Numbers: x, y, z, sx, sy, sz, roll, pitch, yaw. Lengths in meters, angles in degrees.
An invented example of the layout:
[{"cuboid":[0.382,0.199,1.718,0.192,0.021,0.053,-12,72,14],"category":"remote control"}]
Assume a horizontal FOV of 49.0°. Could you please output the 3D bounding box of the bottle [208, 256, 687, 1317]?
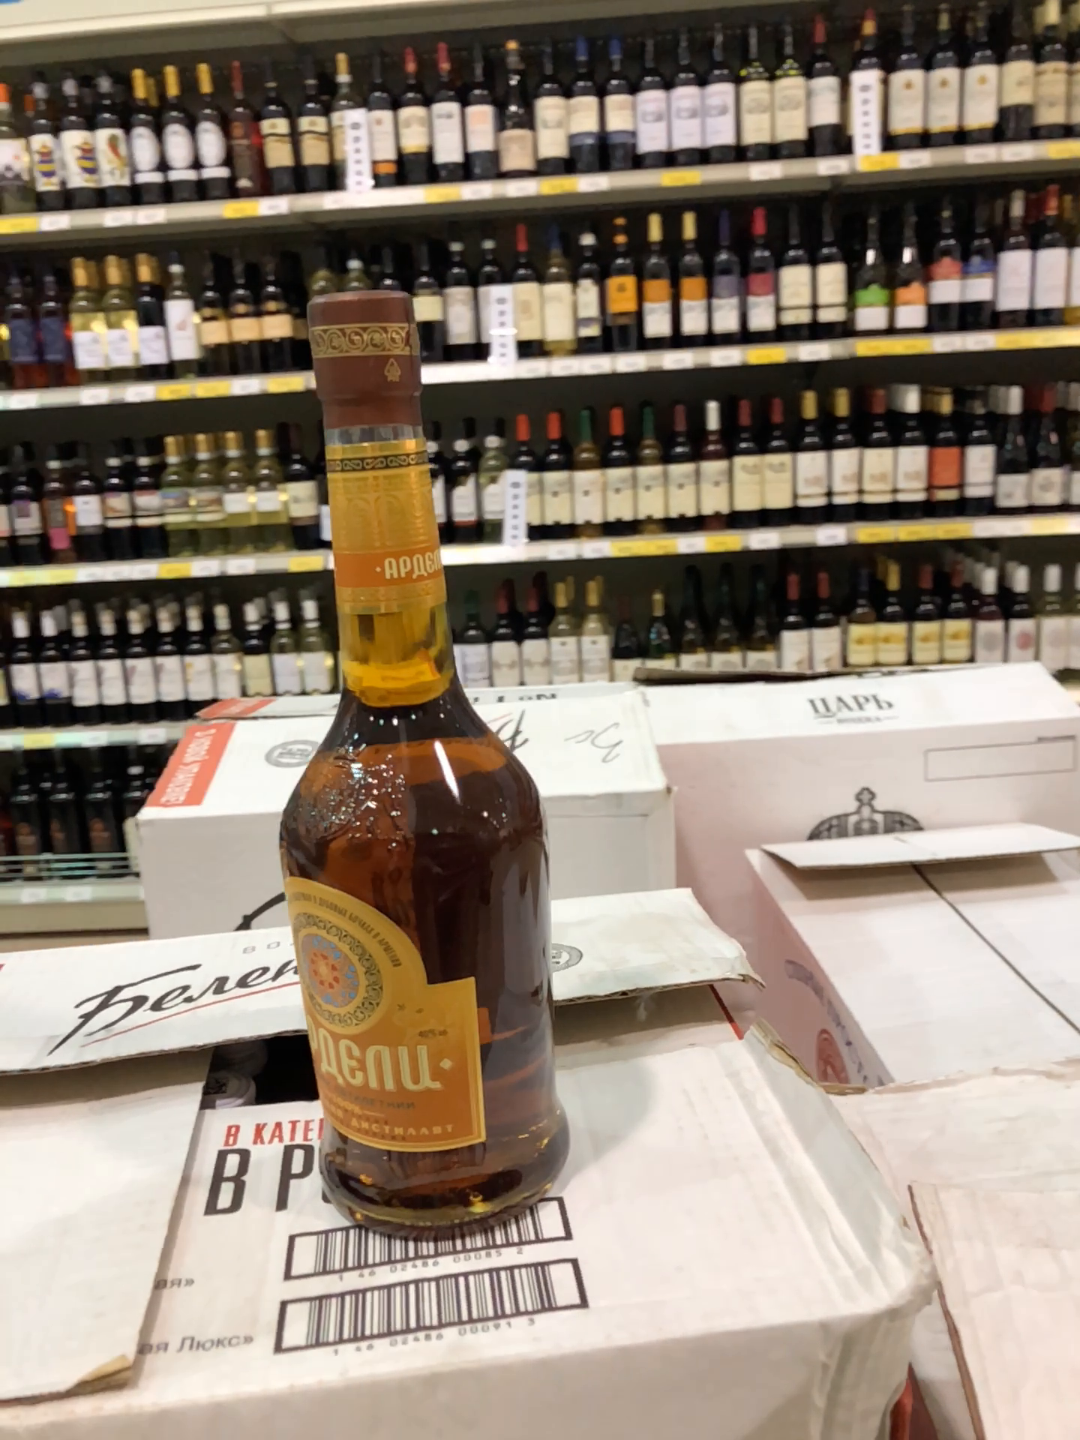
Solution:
[{"cuboid":[-0.019,0.015,0.330,0.080,0.259,0.080,-3,15,1],"category":"bottle"}]
